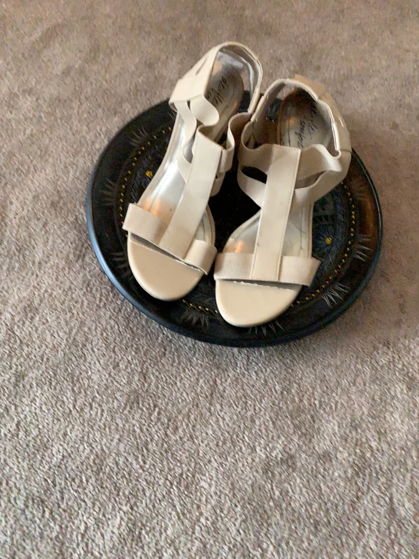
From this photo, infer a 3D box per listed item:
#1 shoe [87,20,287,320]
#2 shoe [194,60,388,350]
[{"bbox_3d":[-0.020,-0.089,0.396,0.100,0.090,0.230,18,84,-6],"label":"shoe"},{"bbox_3d":[0.068,-0.059,0.388,0.090,0.090,0.220,19,84,3],"label":"shoe"}]
